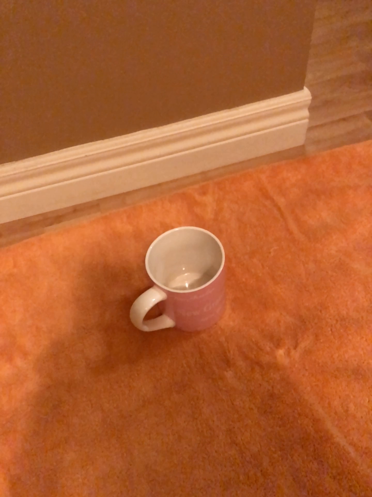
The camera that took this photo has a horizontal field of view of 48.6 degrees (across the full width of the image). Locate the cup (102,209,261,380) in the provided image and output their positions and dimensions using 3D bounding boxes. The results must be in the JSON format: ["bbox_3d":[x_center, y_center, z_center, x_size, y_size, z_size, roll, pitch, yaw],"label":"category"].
[{"bbox_3d":[-0.002,0.054,0.501,0.140,0.110,0.110,-33,56,-18],"label":"cup"}]
